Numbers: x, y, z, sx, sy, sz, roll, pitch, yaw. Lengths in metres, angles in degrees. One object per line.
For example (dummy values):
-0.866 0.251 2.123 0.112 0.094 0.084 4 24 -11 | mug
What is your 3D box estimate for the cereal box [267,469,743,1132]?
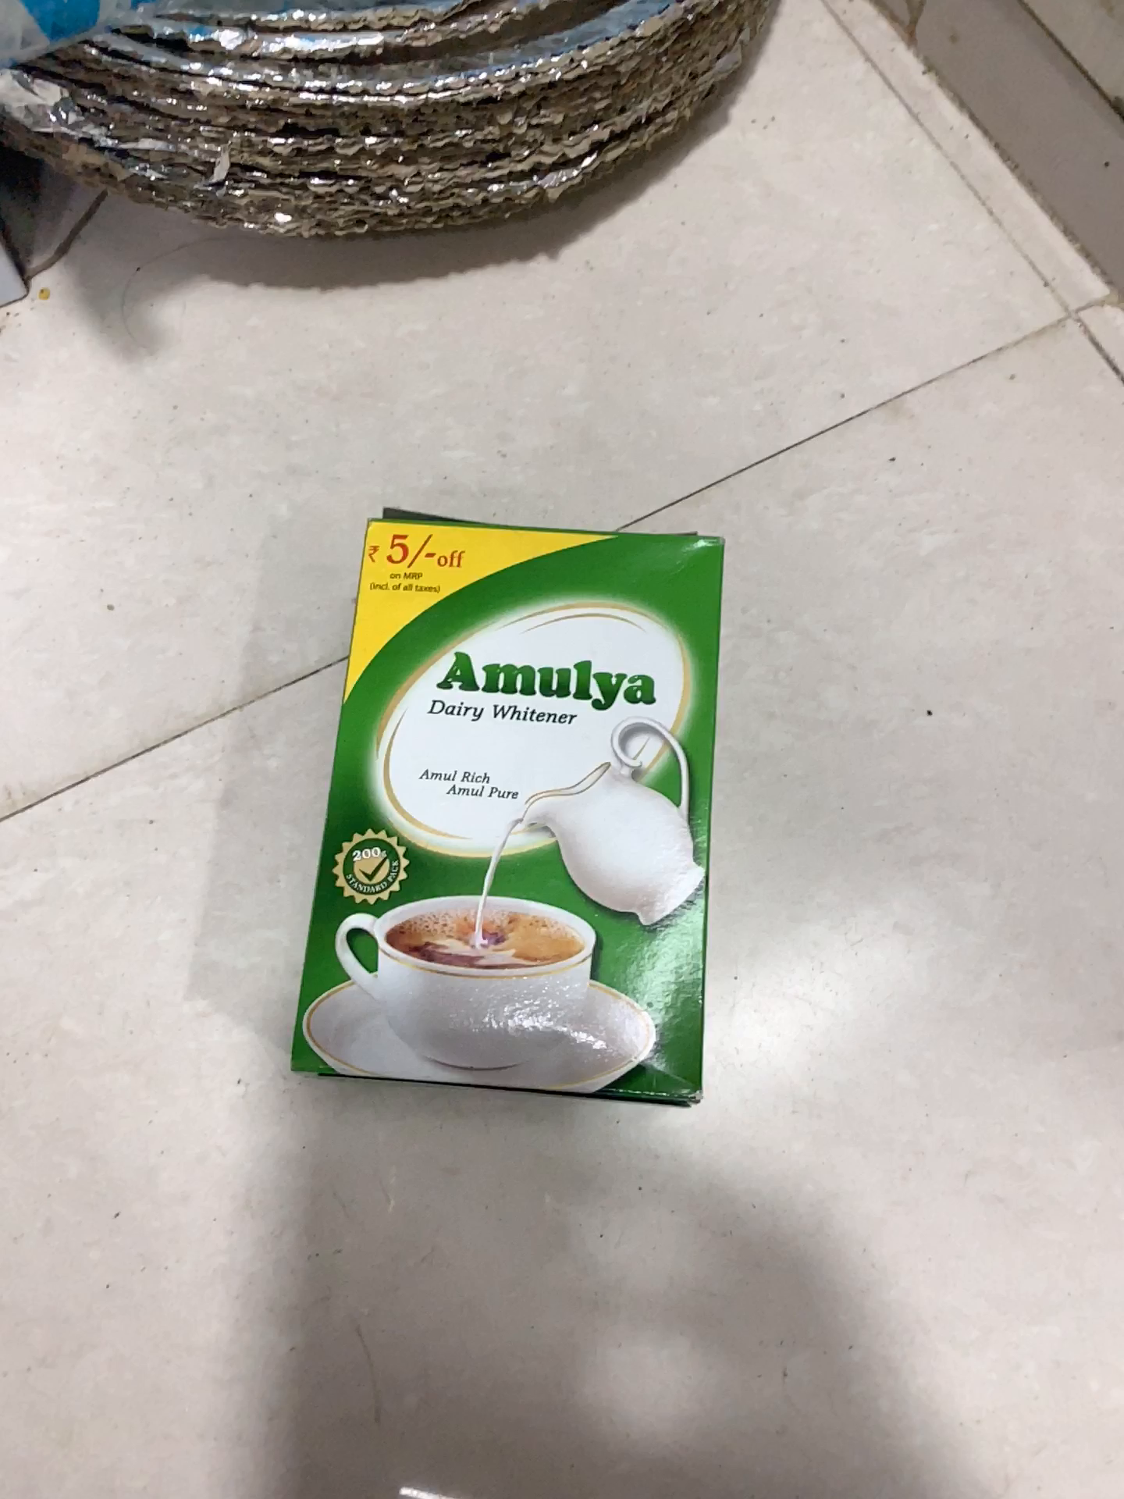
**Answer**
-0.008 0.013 0.277 0.090 0.060 0.140 4 73 1 | cereal box
